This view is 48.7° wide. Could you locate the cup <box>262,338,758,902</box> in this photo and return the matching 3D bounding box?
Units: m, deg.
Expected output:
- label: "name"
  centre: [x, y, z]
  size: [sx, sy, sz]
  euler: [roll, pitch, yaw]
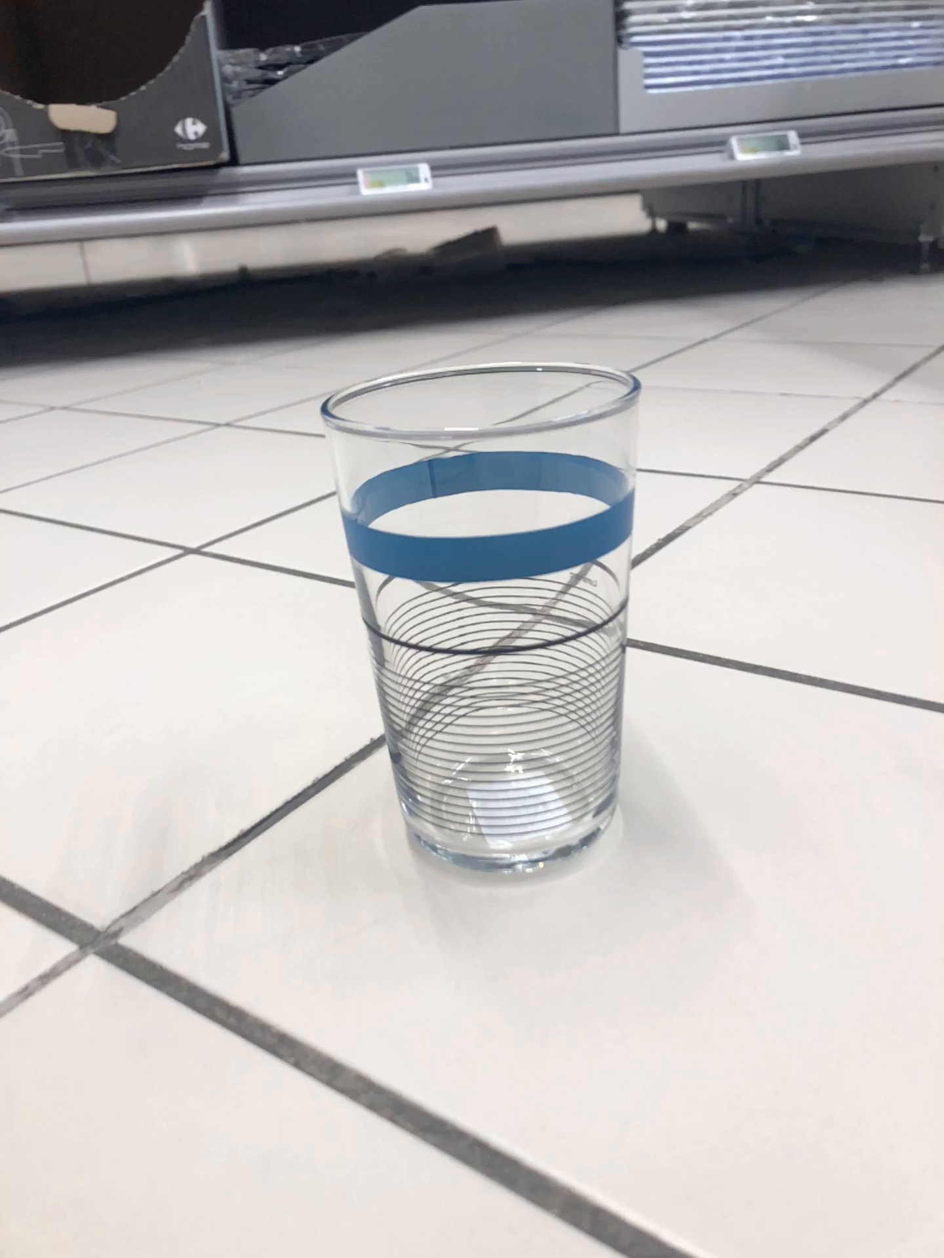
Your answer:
- label: "cup"
  centre: [0.014, -0.011, 0.251]
  size: [0.079, 0.102, 0.080]
  euler: [-4, 23, 2]
